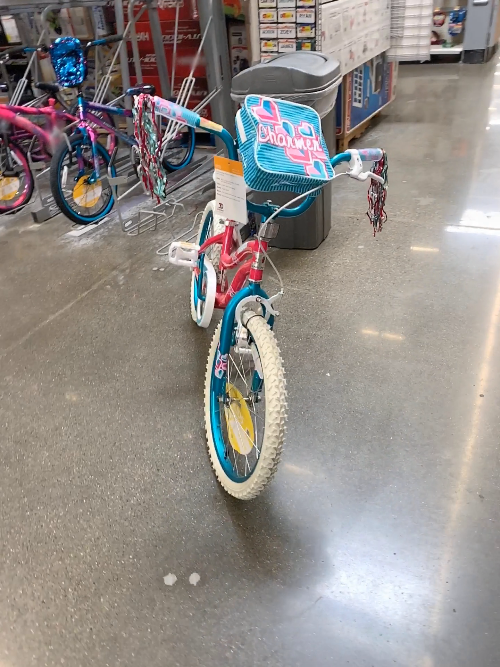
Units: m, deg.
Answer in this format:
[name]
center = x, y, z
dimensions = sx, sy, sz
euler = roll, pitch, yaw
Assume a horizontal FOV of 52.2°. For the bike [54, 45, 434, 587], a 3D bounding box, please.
[bike]
center = -0.059, -0.215, 1.583
dimensions = 0.652, 0.929, 1.269
euler = -10, 37, -7
